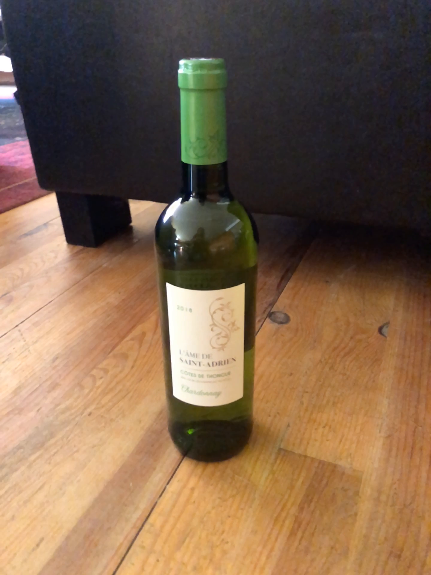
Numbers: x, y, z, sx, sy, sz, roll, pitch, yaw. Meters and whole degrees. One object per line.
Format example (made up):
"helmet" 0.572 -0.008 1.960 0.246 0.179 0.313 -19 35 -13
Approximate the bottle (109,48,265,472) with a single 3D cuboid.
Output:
"bottle" -0.007 -0.006 0.346 0.080 0.298 0.080 -2 28 1
